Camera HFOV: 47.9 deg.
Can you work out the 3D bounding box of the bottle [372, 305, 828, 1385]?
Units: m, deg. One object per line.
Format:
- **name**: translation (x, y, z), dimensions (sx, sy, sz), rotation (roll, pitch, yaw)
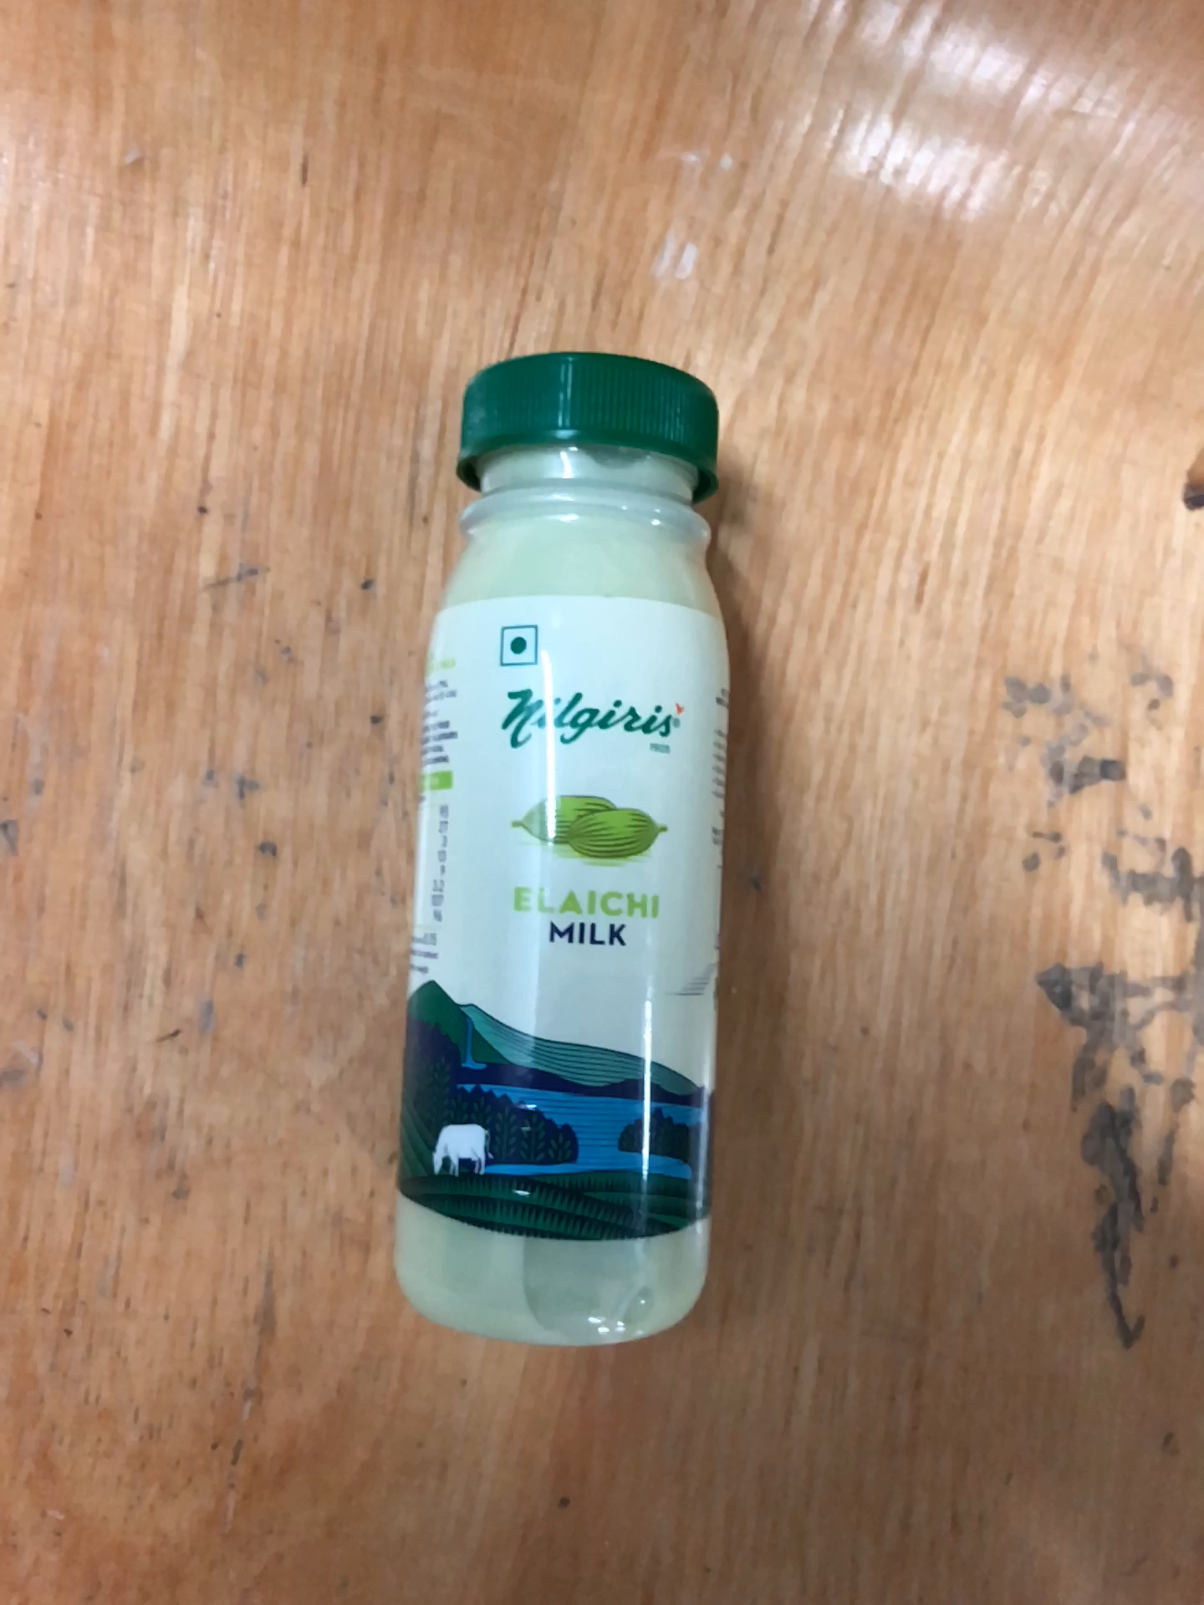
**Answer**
- **bottle**: translation (-0.002, 0.007, 0.201), dimensions (0.050, 0.040, 0.140), rotation (5, 87, -14)
